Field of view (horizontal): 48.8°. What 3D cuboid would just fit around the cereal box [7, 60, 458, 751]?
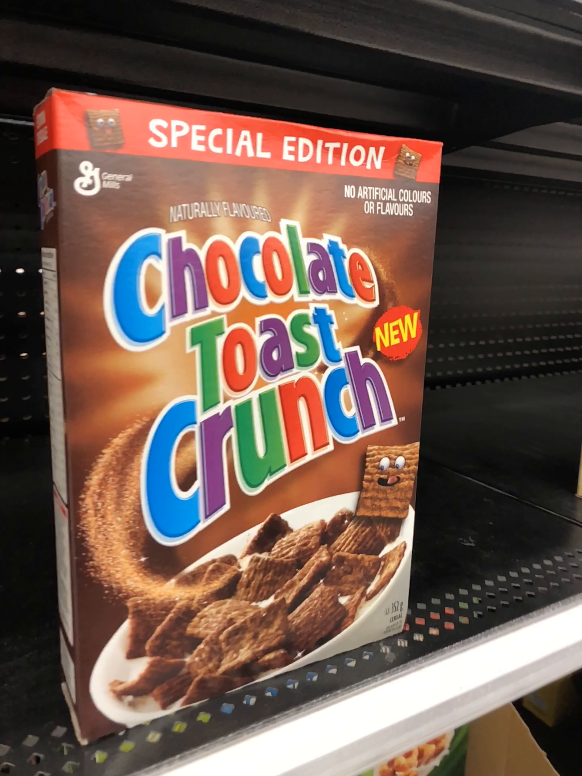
[{"bbox_3d":[-0.020,0.007,0.315,0.200,0.269,0.050,-5,13,-30],"label":"cereal box"}]
